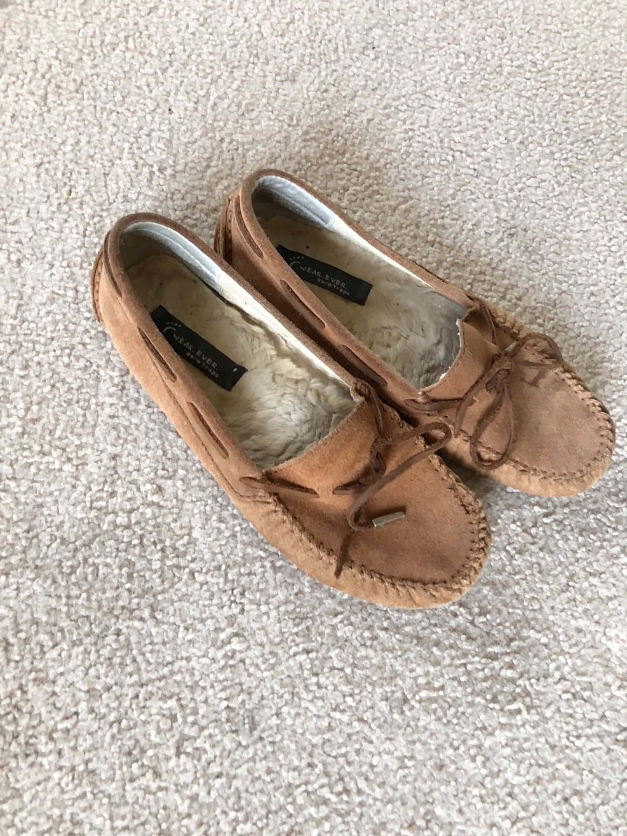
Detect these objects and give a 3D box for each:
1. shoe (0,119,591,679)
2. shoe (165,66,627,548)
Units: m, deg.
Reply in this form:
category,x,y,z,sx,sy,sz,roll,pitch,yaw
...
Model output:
category,x,y,z,sx,sy,sz,roll,pitch,yaw
shoe,-0.013,-0.010,0.339,0.270,0.068,0.105,43,68,6
shoe,0.061,-0.058,0.371,0.274,0.068,0.098,36,68,3
